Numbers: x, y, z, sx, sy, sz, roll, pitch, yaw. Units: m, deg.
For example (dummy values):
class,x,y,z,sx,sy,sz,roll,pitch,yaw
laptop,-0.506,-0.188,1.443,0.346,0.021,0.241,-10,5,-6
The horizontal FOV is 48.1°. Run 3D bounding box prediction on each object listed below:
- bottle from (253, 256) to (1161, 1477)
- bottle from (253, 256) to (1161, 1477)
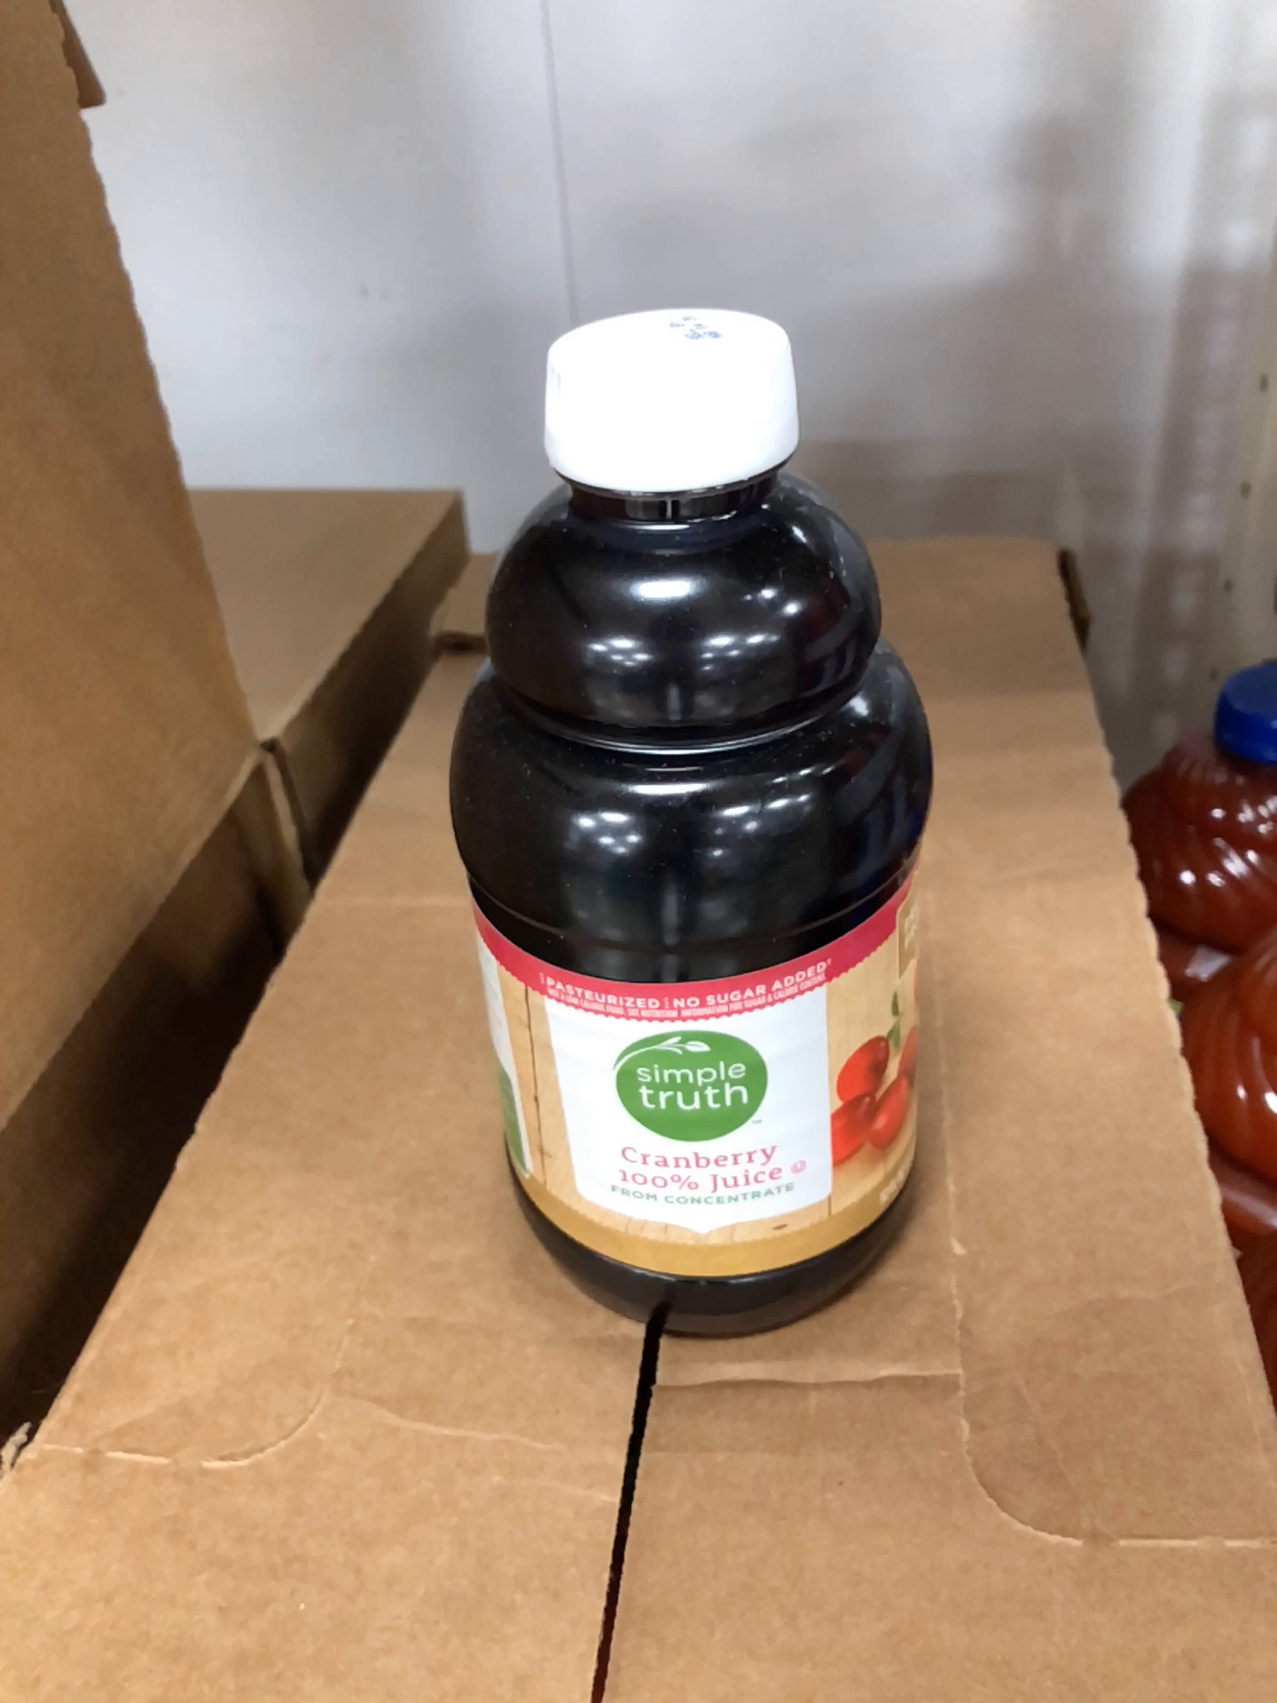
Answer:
class,x,y,z,sx,sy,sz,roll,pitch,yaw
bottle,0.017,0.002,0.292,0.110,0.199,0.100,-4,35,3
bottle,0.017,0.002,0.292,0.110,0.199,0.100,-4,35,3
